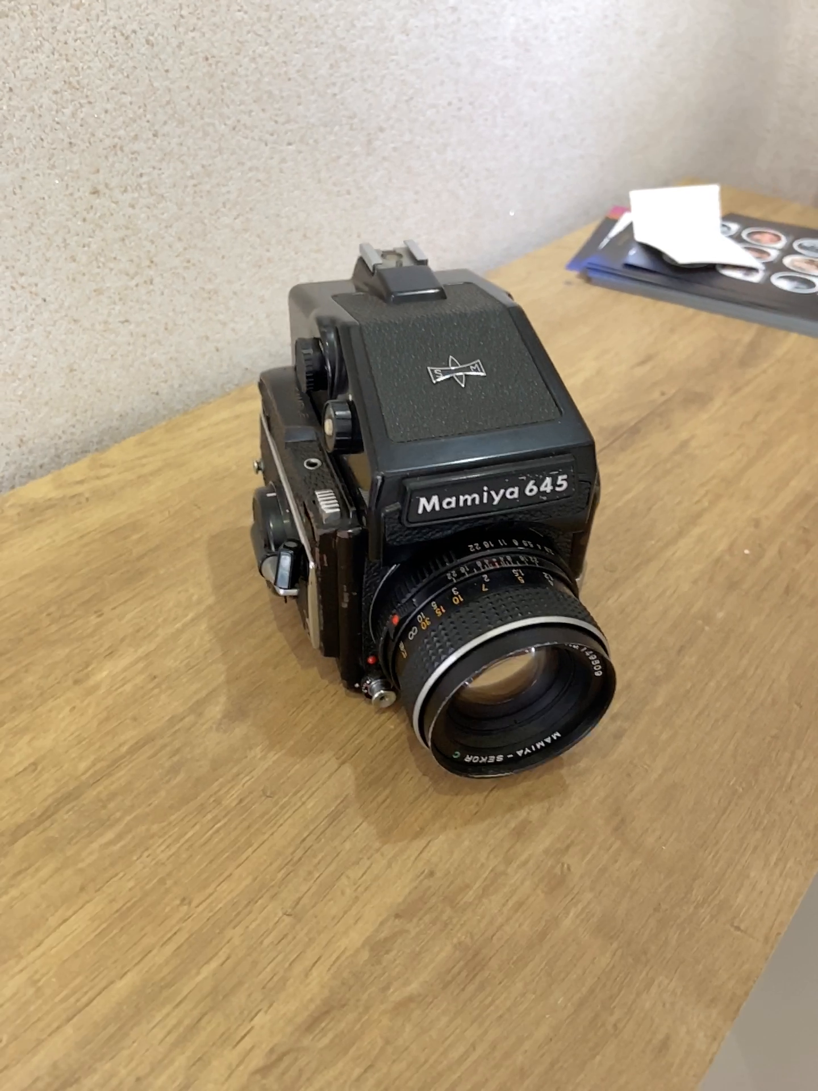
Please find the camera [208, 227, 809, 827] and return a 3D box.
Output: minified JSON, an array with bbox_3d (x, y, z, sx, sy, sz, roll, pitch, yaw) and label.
[{"bbox_3d":[0.013,-0.020,0.289,0.130,0.109,0.161,-10,41,-13],"label":"camera"}]
